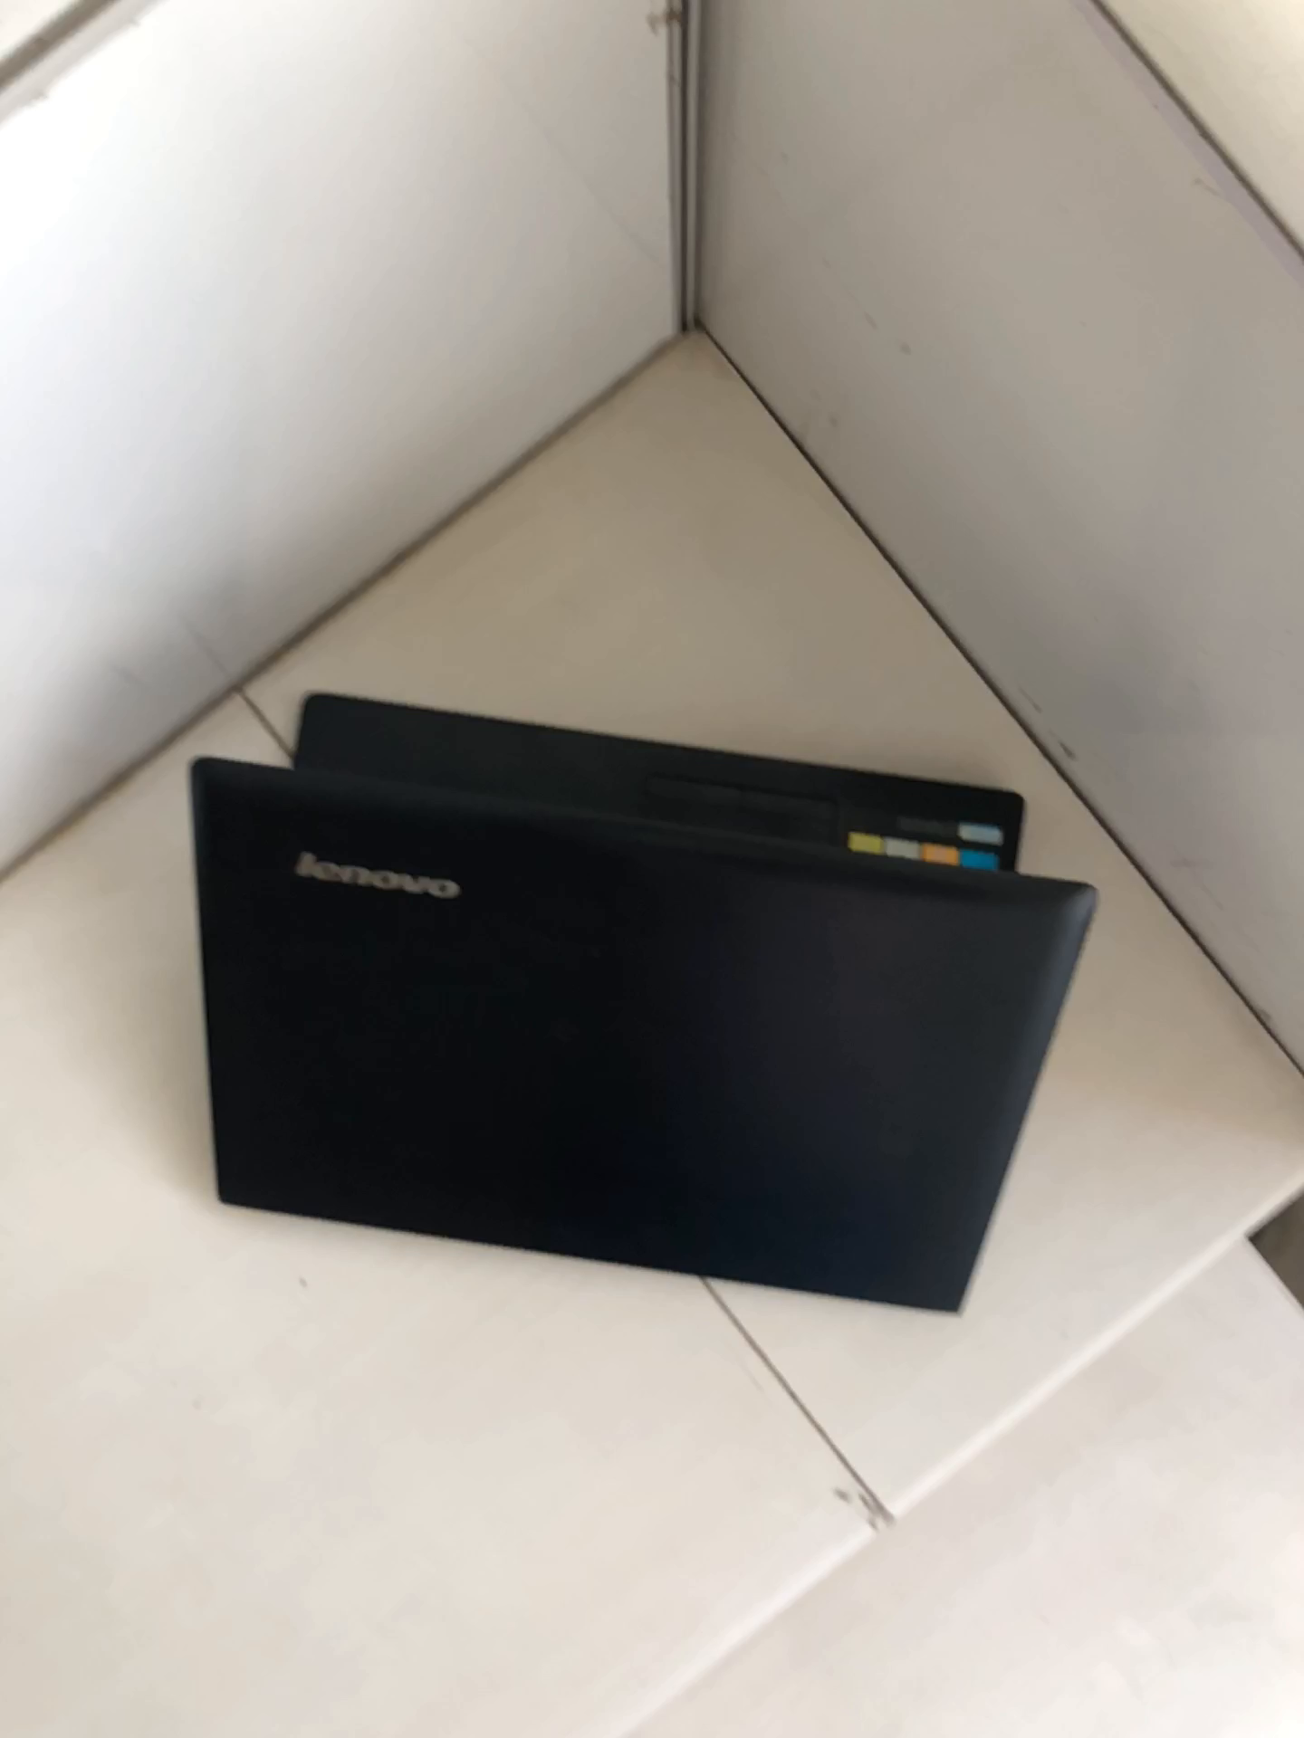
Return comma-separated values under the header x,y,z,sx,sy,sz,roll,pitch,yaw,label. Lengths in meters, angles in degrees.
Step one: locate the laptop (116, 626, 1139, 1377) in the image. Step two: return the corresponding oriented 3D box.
x,y,z,sx,sy,sz,roll,pitch,yaw,label
-0.013,0.057,0.658,0.374,0.162,0.252,8,92,1,laptop
